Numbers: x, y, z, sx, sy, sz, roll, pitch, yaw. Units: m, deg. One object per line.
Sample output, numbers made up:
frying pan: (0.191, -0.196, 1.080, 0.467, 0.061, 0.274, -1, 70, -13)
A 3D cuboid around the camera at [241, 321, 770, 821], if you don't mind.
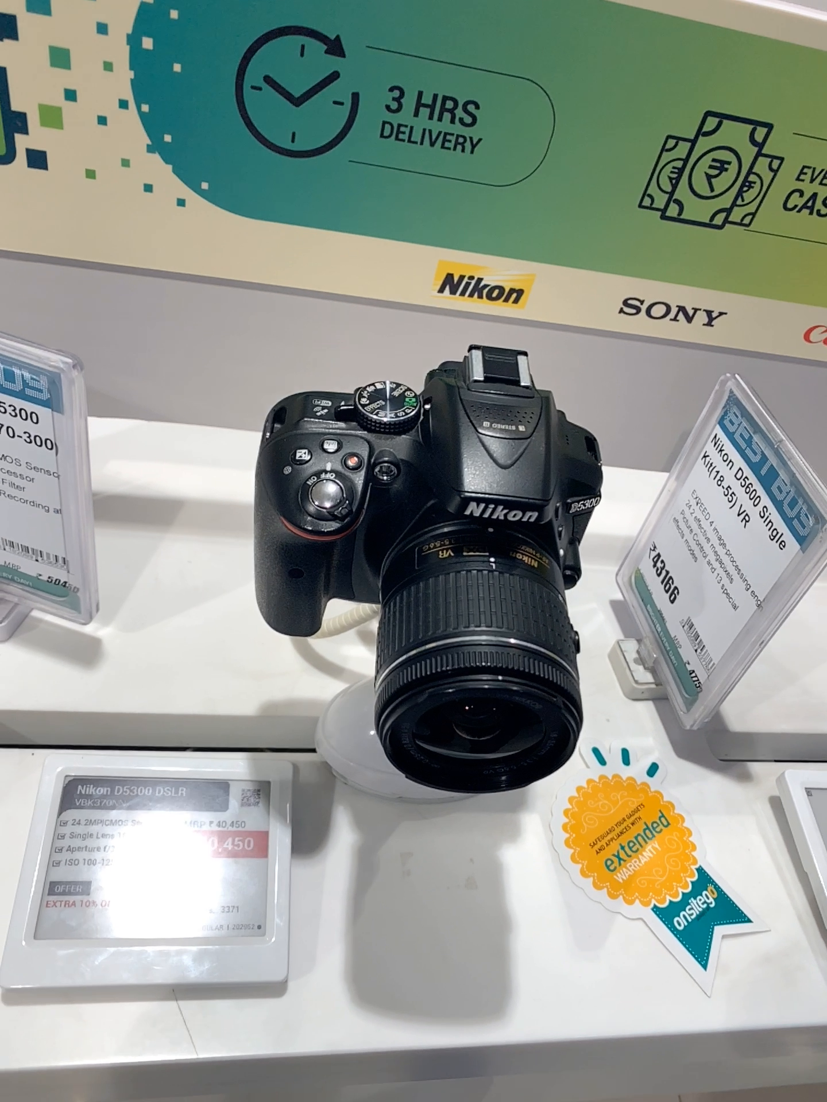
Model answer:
camera: (0.012, 0.005, 0.260, 0.118, 0.082, 0.123, 4, 44, -13)
